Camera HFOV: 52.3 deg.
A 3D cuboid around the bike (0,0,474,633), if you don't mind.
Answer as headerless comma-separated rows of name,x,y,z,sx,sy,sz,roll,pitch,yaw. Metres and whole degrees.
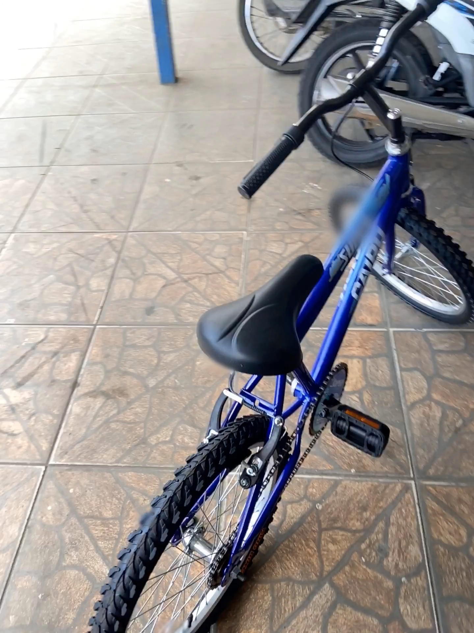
bike,0.064,0.019,0.831,0.543,0.950,1.187,20,55,18
